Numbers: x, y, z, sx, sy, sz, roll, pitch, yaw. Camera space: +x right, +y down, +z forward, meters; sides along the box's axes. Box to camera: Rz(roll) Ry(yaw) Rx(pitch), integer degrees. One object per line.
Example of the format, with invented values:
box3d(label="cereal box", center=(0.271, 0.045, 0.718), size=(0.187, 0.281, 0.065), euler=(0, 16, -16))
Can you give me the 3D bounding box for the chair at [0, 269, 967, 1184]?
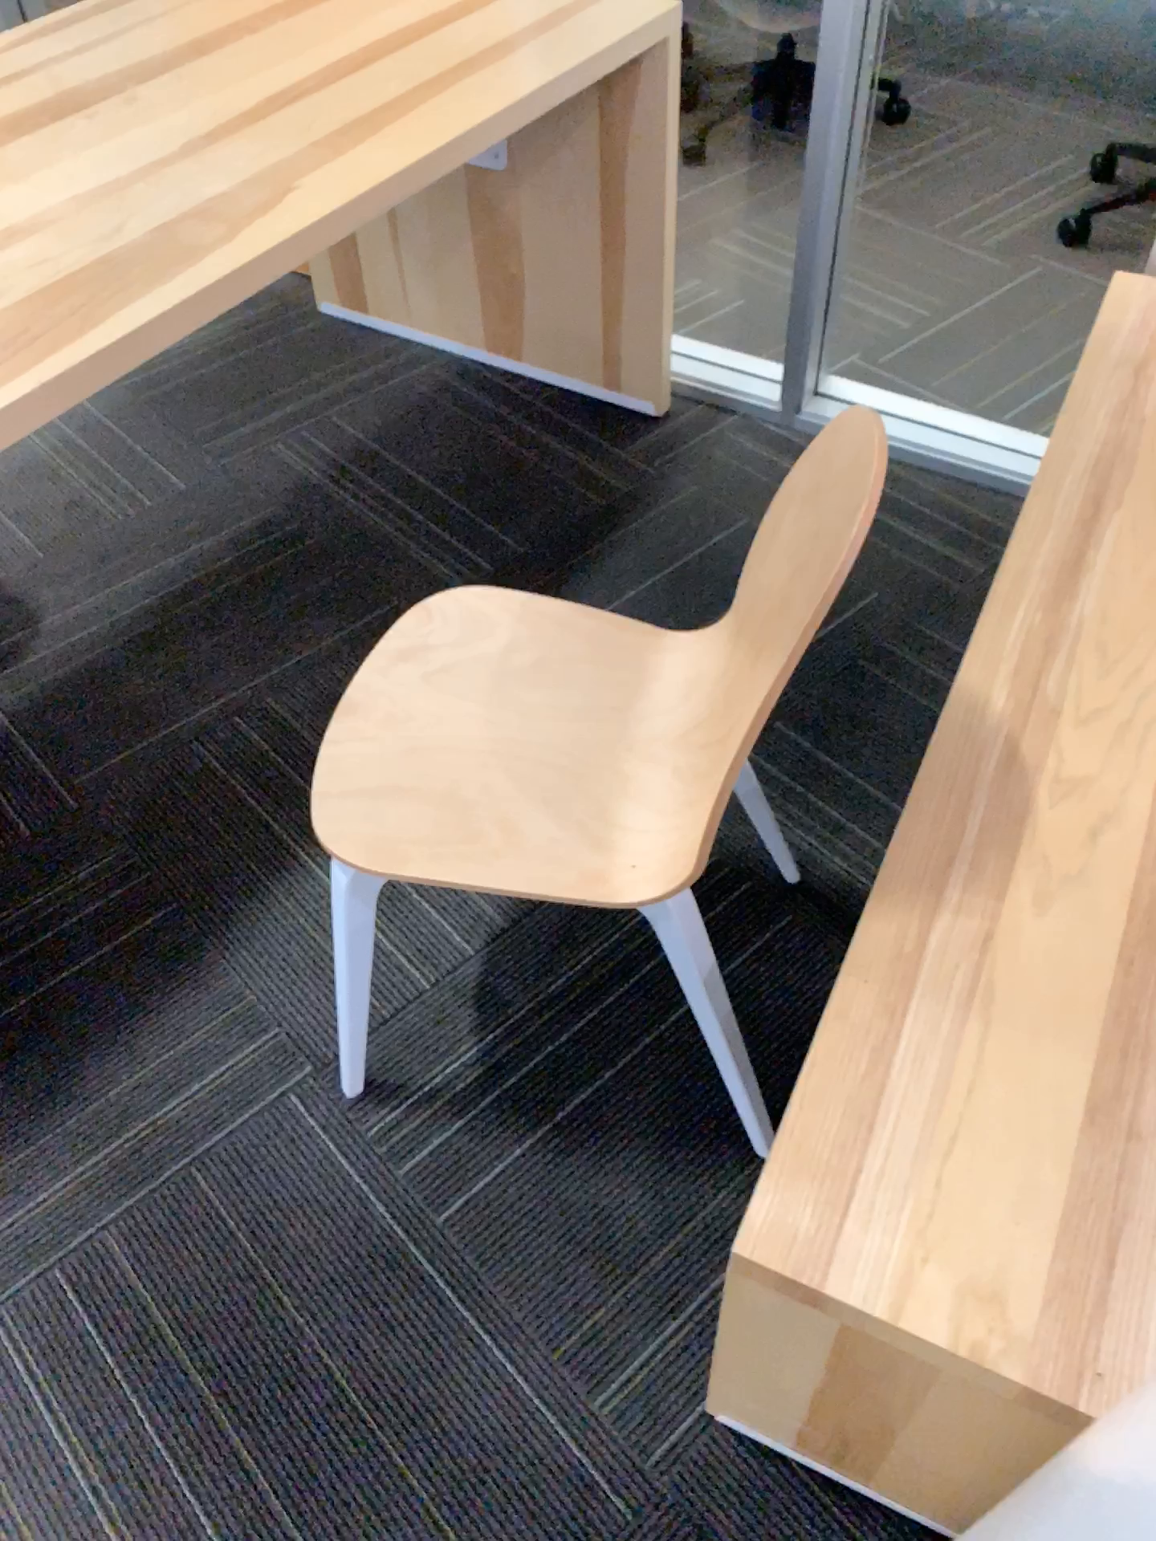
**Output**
box3d(label="chair", center=(-0.030, -0.016, 1.240), size=(0.650, 0.766, 0.522), euler=(5, 49, 7))
